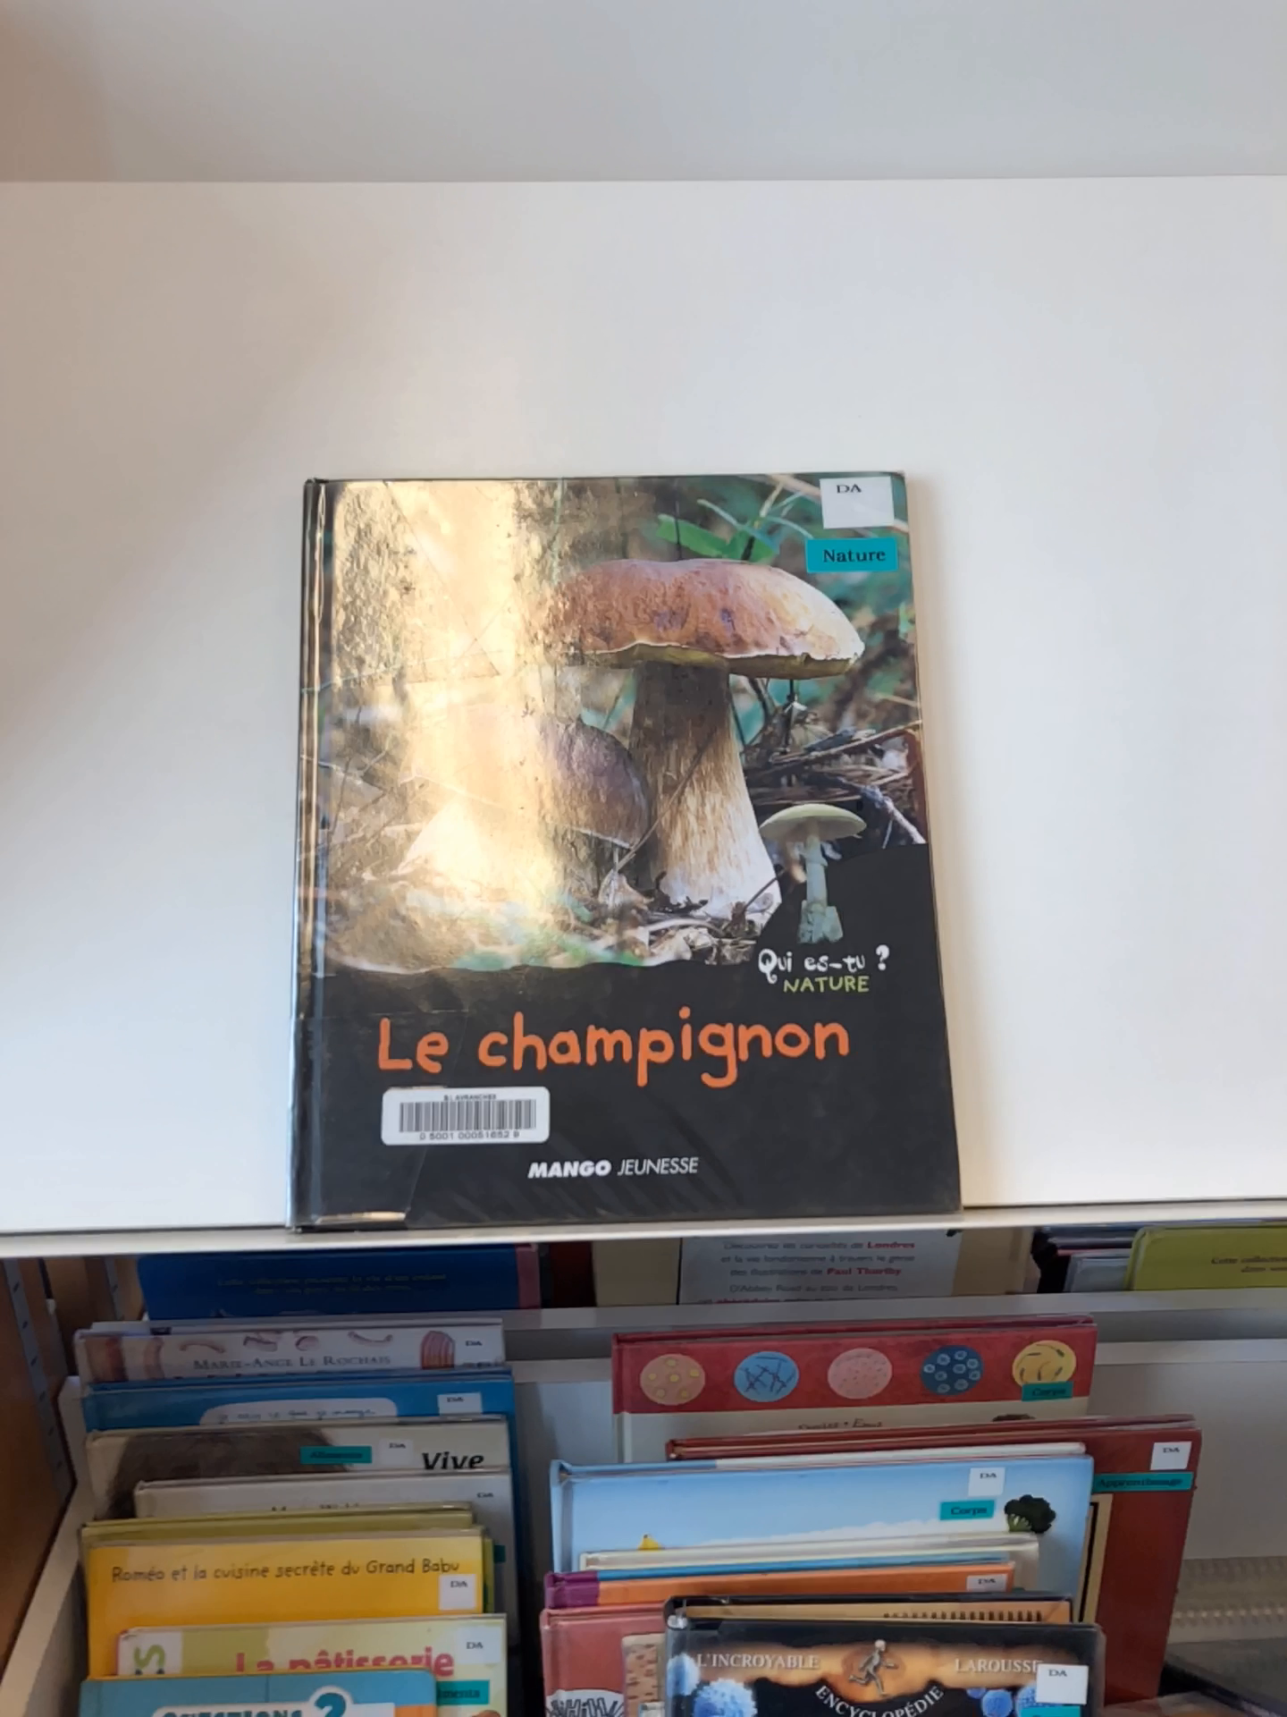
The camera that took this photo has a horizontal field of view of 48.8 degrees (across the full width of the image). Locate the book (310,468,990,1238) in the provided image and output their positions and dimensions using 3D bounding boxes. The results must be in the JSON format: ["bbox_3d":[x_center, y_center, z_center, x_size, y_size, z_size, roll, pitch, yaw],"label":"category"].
[{"bbox_3d":[-0.001,-0.007,0.456,0.202,0.243,0.020,-1,-12,-2],"label":"book"}]
